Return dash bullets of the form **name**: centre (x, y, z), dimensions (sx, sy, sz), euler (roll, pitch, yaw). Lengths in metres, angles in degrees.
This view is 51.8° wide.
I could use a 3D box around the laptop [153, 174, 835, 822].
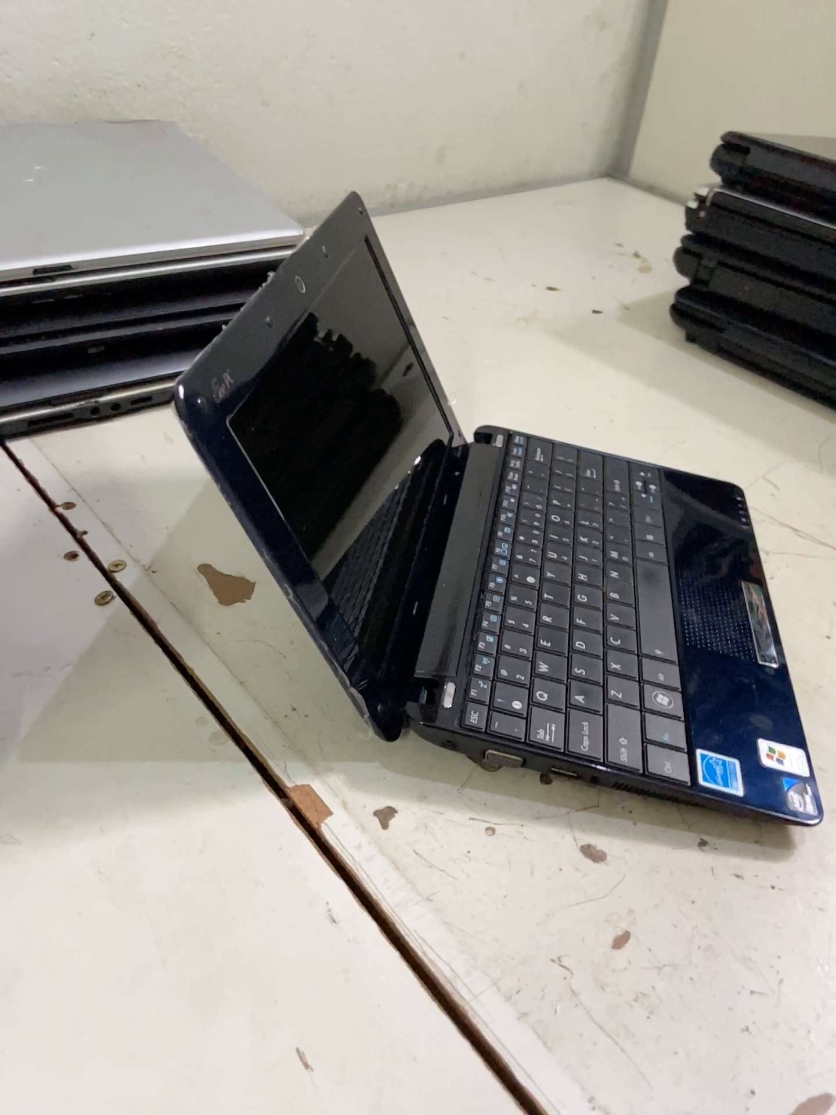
- **laptop**: centre (0.060, -0.055, 0.423), dimensions (0.272, 0.133, 0.261), euler (13, 38, 3)
